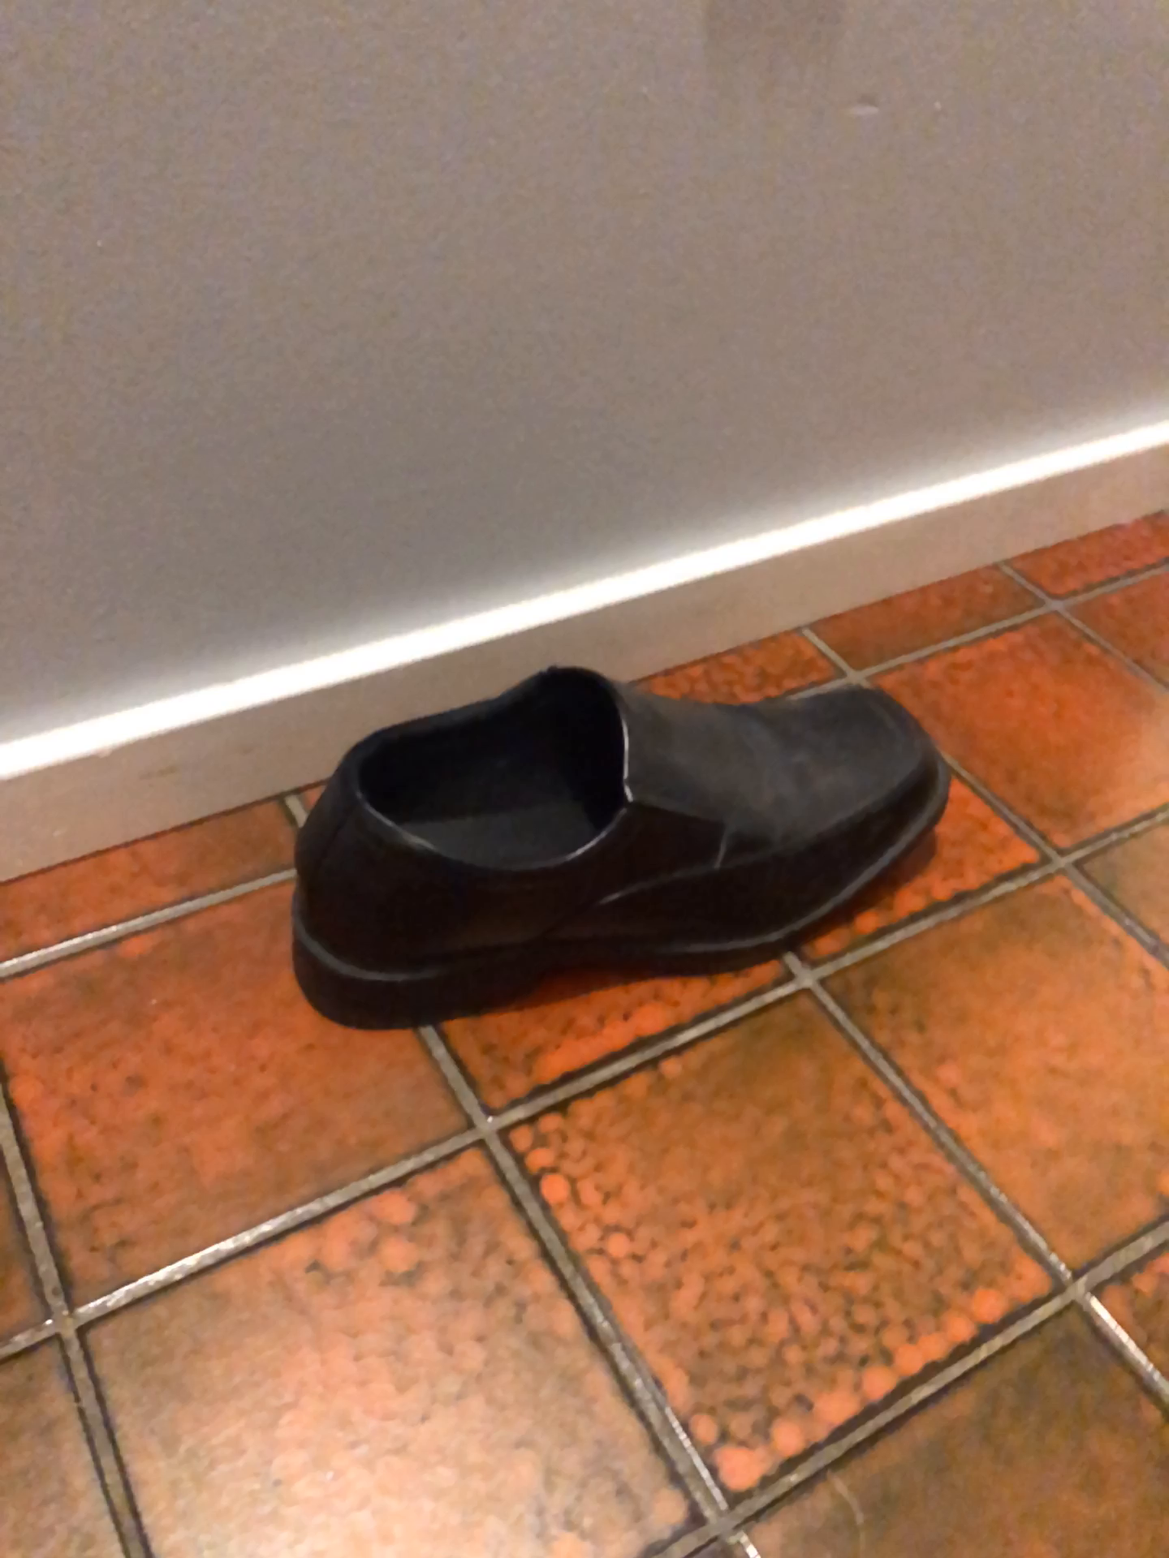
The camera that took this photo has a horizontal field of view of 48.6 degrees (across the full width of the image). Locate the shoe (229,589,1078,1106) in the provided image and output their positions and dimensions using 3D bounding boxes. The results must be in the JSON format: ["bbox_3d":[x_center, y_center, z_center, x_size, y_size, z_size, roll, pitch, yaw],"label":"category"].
[{"bbox_3d":[0.023,0.018,0.524,0.300,0.100,0.120,-10,46,-18],"label":"shoe"}]
